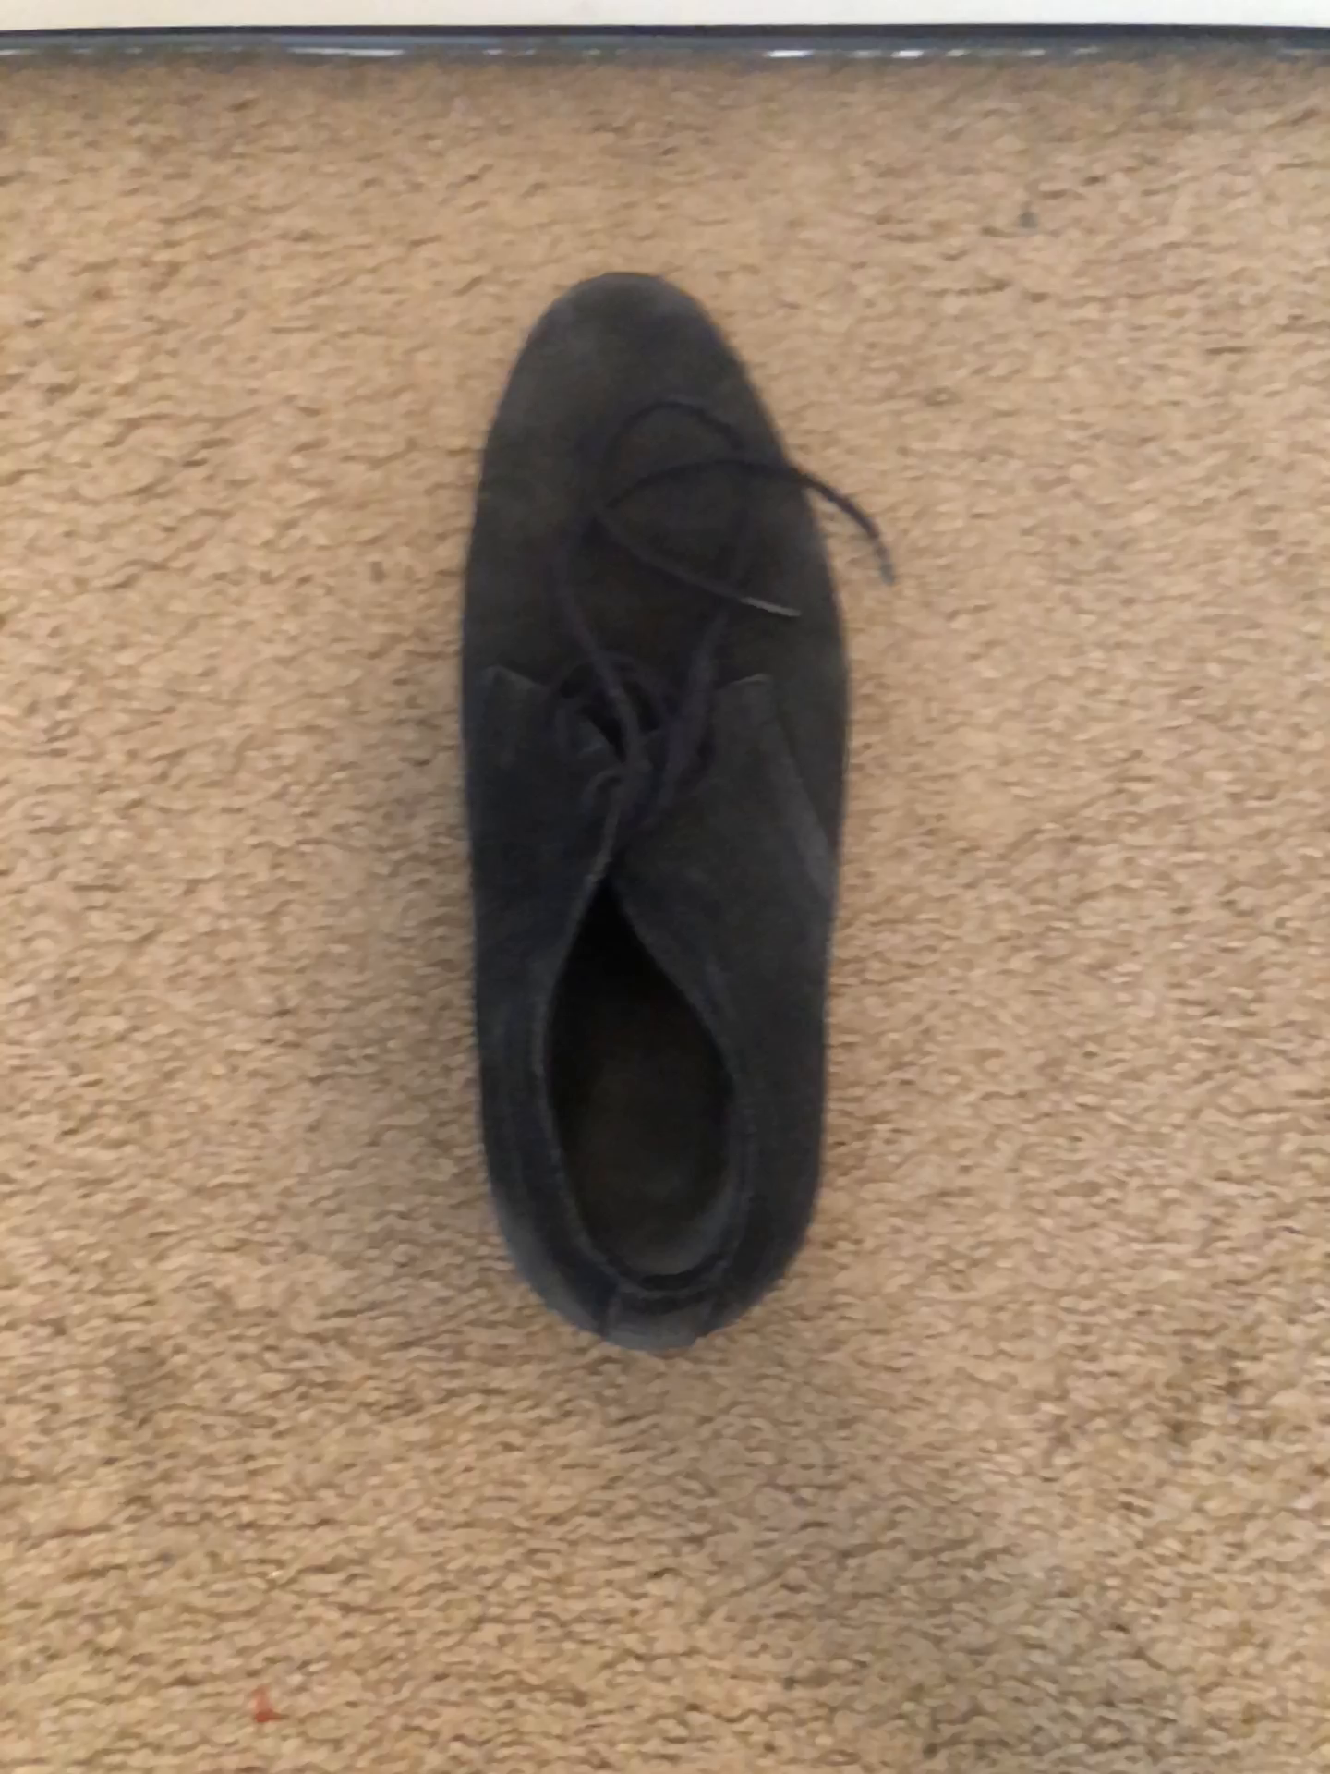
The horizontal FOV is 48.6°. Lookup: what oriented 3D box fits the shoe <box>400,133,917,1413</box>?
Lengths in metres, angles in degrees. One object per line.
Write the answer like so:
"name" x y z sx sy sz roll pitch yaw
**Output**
"shoe" -0.002 -0.026 0.362 0.102 0.095 0.279 1 80 -2
